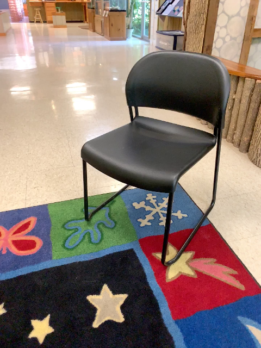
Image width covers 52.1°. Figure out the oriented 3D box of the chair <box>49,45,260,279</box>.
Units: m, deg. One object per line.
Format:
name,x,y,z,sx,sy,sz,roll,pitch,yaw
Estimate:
chair,0.131,-0.134,1.227,0.612,0.736,0.632,23,38,31
